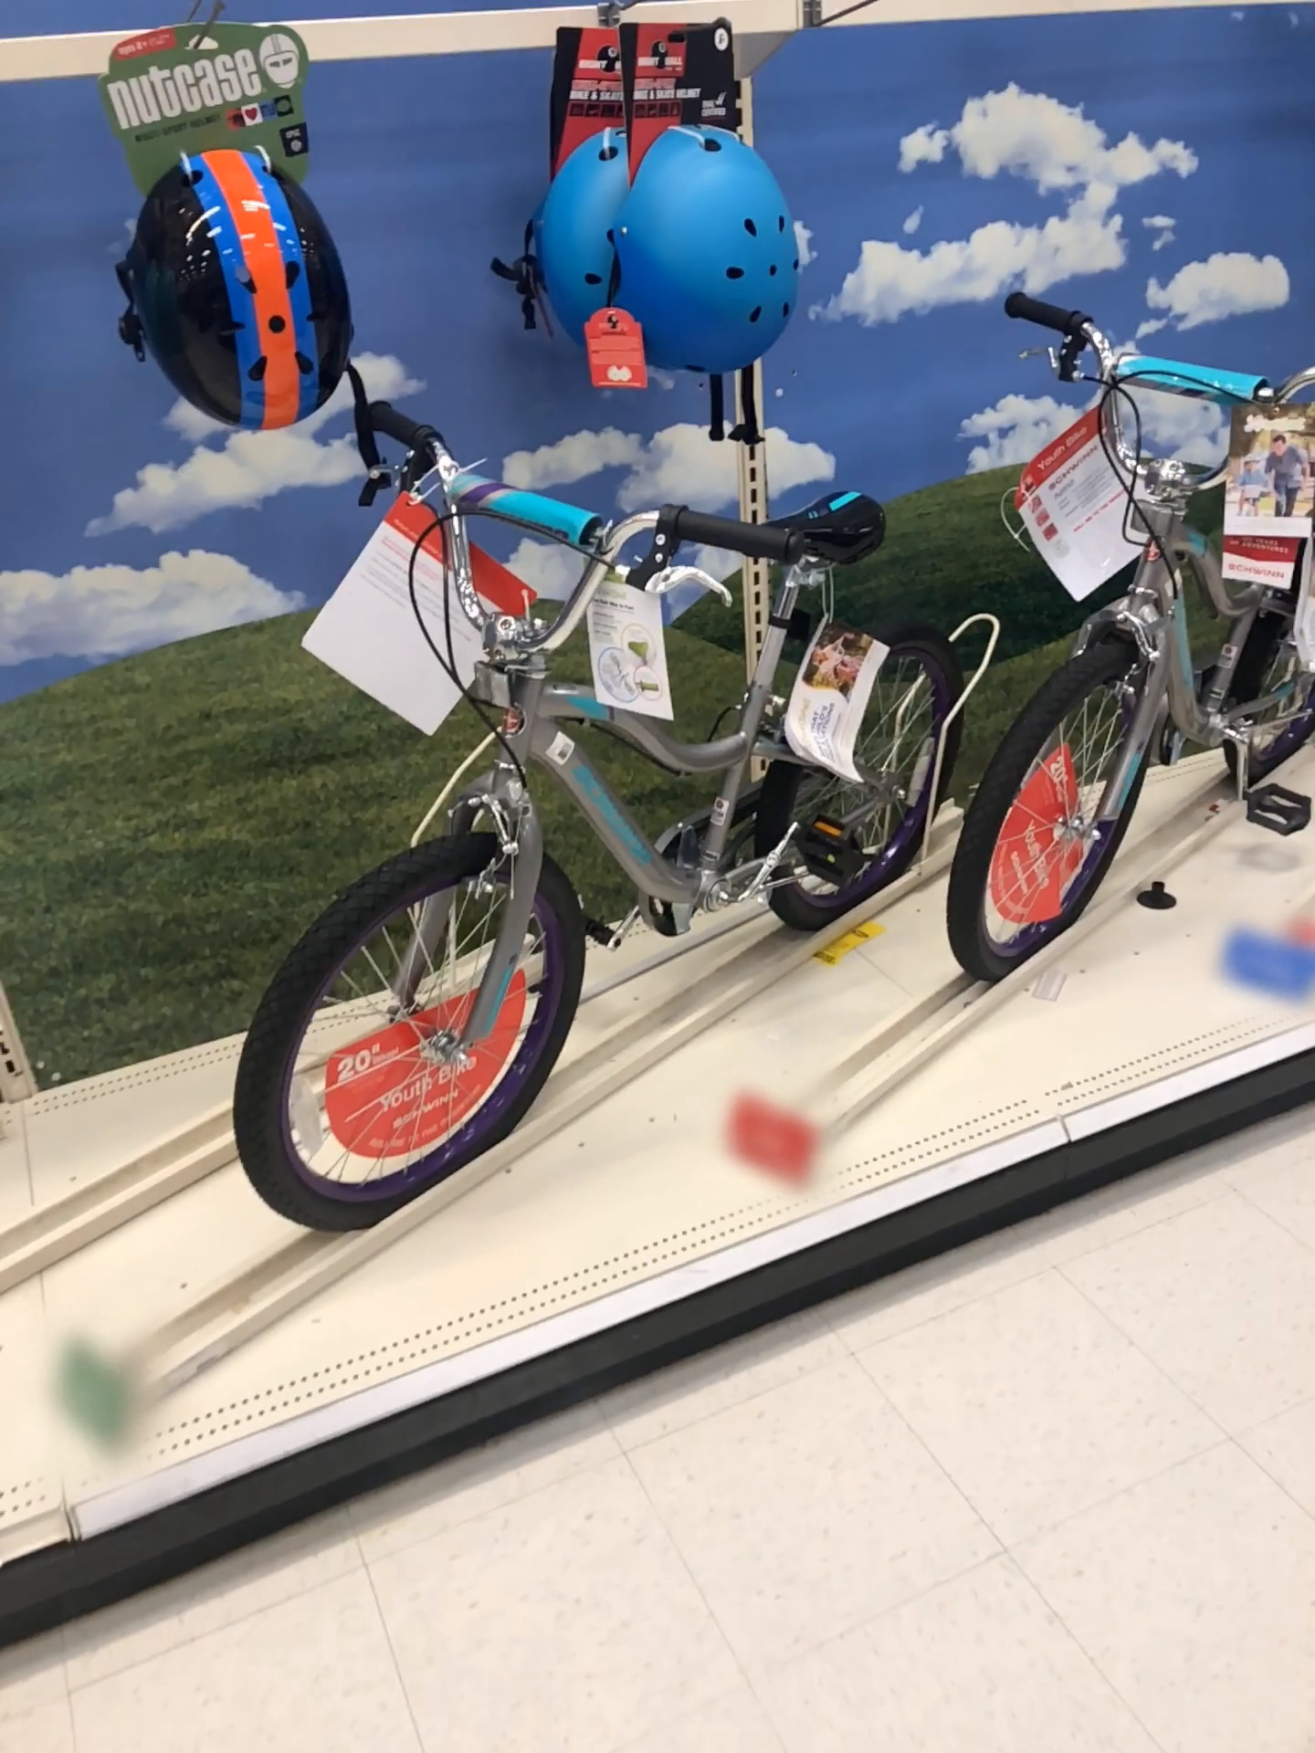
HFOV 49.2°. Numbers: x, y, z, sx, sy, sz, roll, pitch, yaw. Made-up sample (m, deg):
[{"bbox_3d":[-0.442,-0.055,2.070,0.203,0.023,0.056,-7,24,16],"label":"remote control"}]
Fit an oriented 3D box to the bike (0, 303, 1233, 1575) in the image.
[{"bbox_3d":[0.063,-0.094,1.799,0.651,0.878,1.323,21,40,39],"label":"bike"}]
